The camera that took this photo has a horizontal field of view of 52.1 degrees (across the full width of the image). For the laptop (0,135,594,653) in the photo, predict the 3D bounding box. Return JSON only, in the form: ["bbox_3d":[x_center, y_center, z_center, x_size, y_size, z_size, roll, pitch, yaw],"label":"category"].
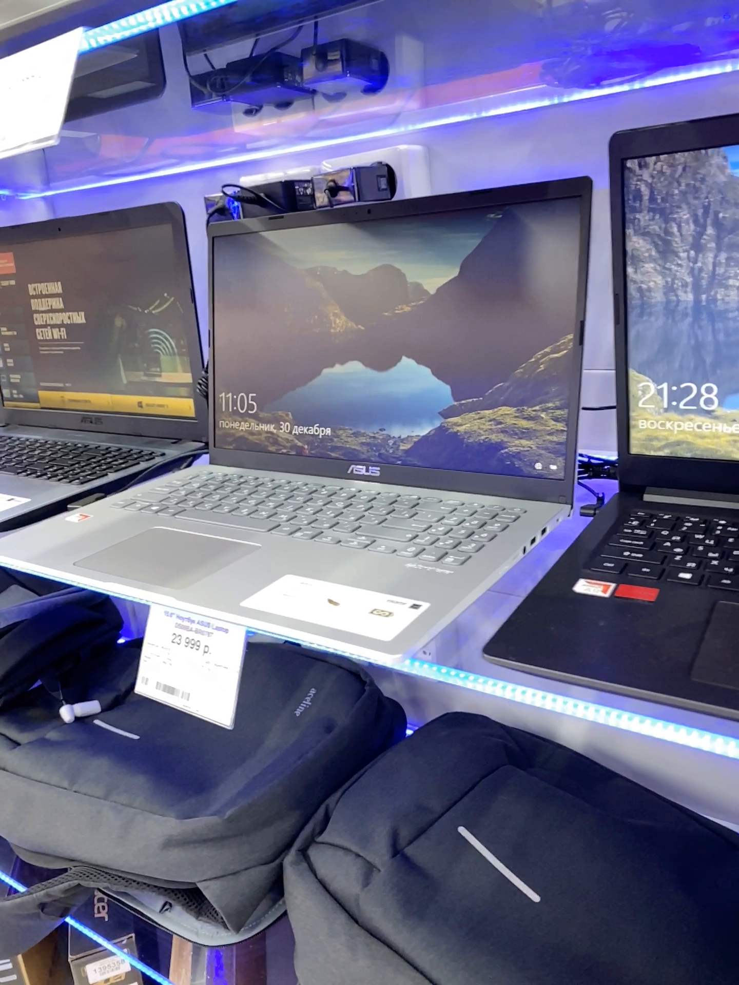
[{"bbox_3d":[-0.070,-0.086,0.525,0.361,0.216,0.286,6,20,33],"label":"laptop"}]
